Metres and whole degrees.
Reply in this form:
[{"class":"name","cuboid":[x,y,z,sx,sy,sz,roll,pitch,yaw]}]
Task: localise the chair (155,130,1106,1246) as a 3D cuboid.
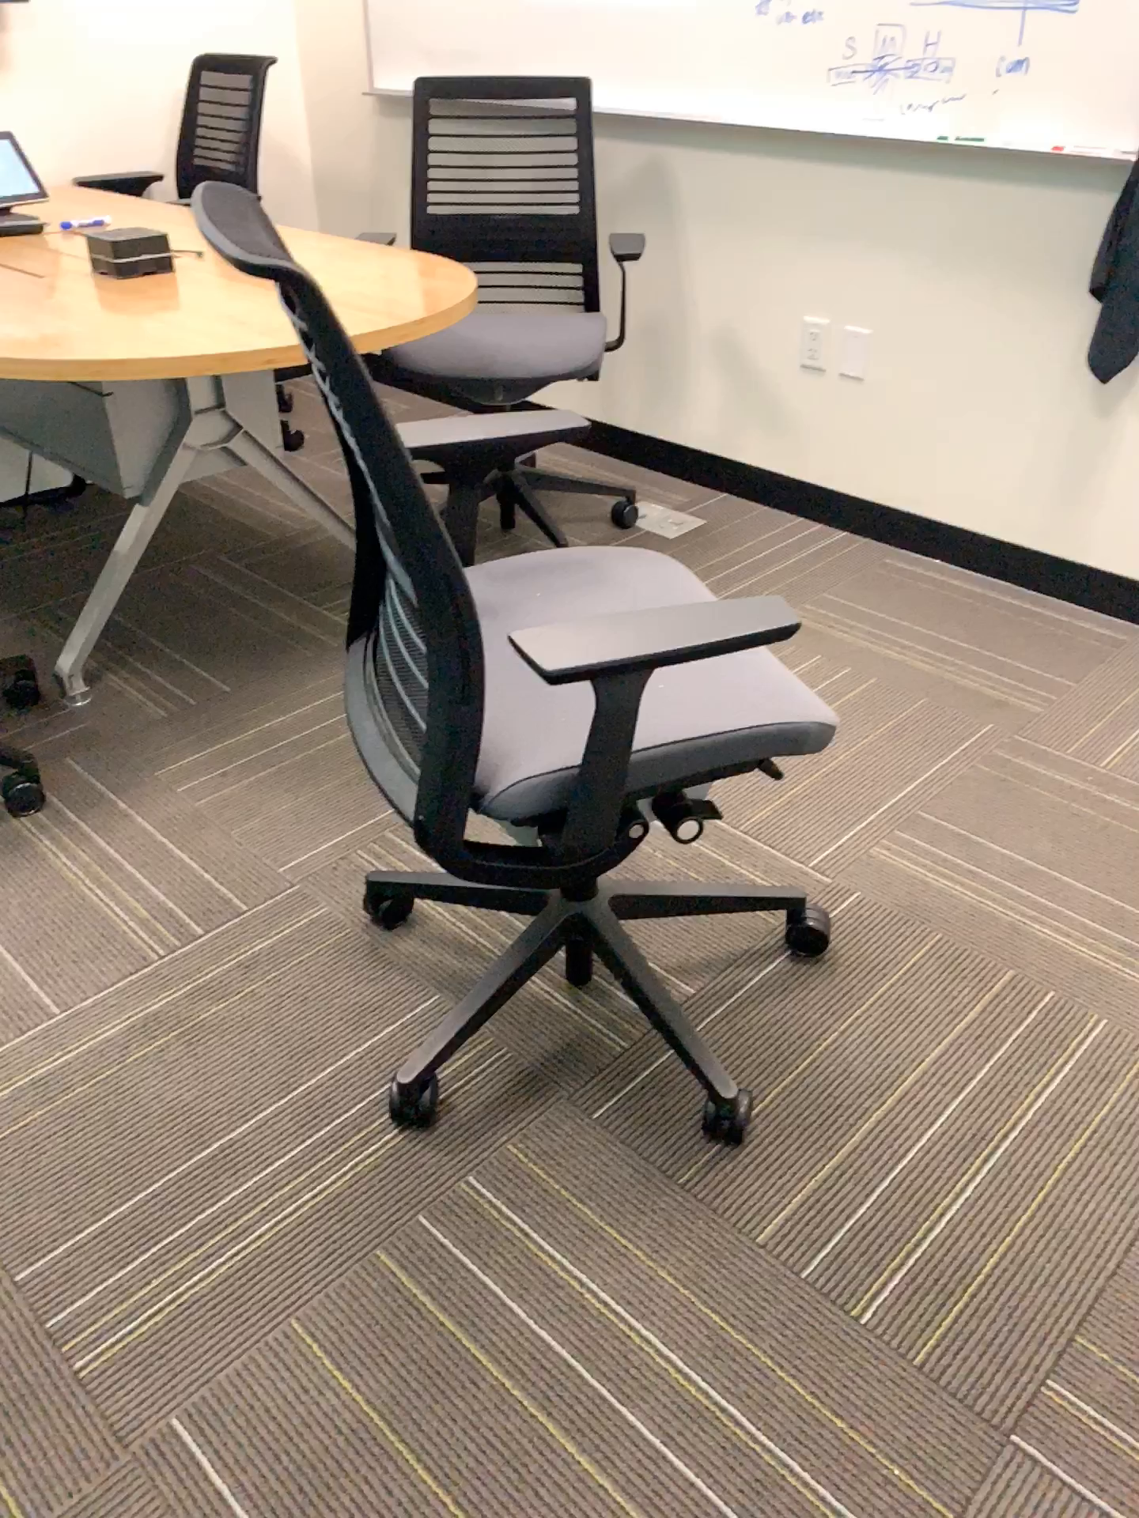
[{"class":"chair","cuboid":[-0.014,-0.116,1.335,0.690,0.994,0.654,-10,34,-14]}]
